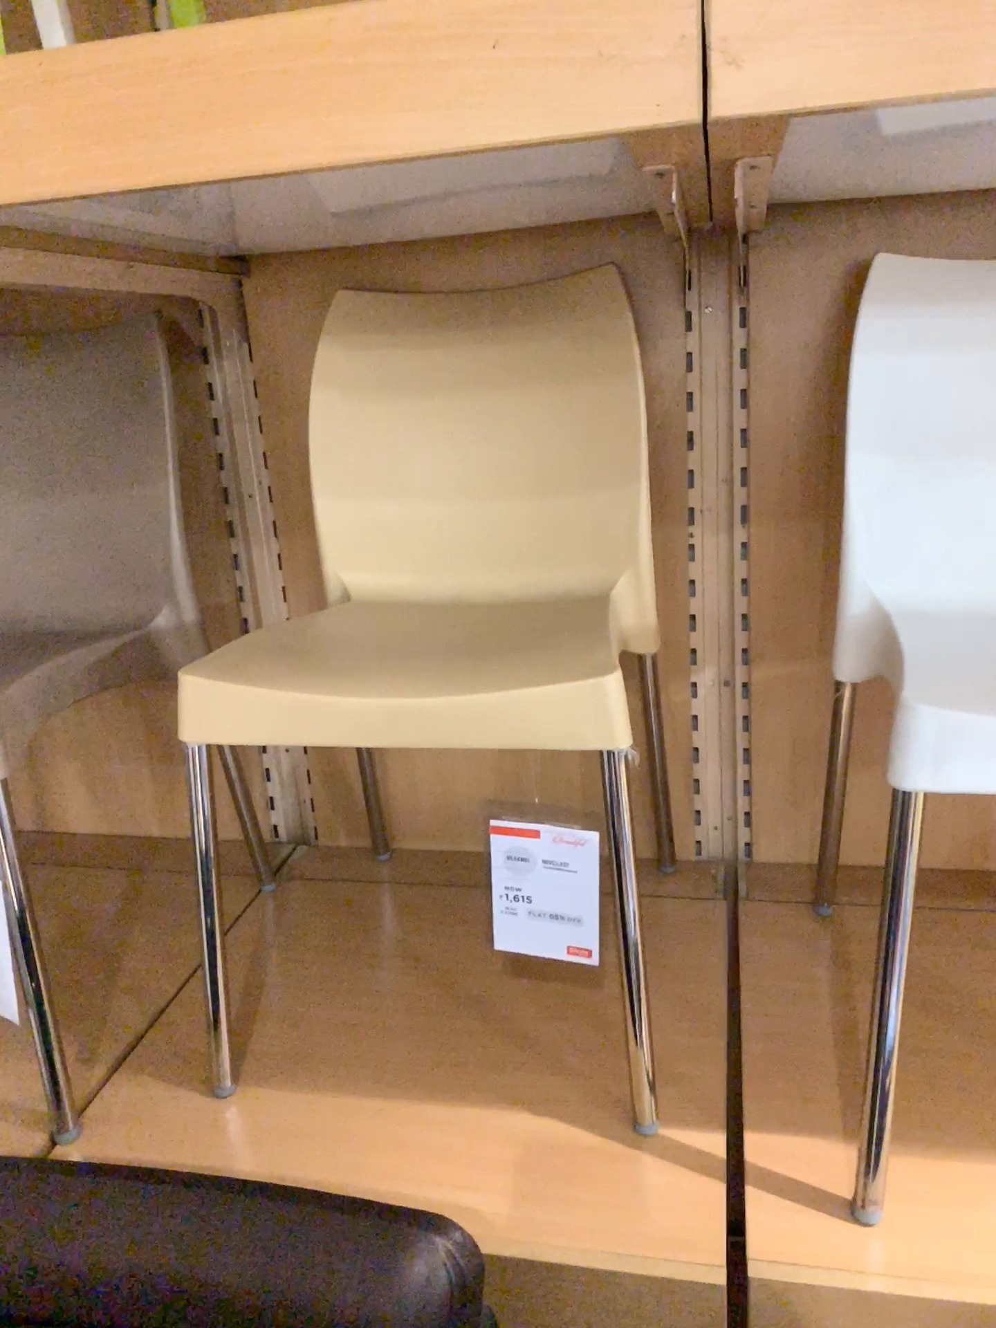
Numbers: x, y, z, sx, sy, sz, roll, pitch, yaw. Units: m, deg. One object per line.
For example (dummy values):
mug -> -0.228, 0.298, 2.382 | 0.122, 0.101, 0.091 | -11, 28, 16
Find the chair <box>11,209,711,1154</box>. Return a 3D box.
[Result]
chair -> -0.053, -0.027, 1.150 | 0.540, 0.807, 0.592 | 1, 18, 10
